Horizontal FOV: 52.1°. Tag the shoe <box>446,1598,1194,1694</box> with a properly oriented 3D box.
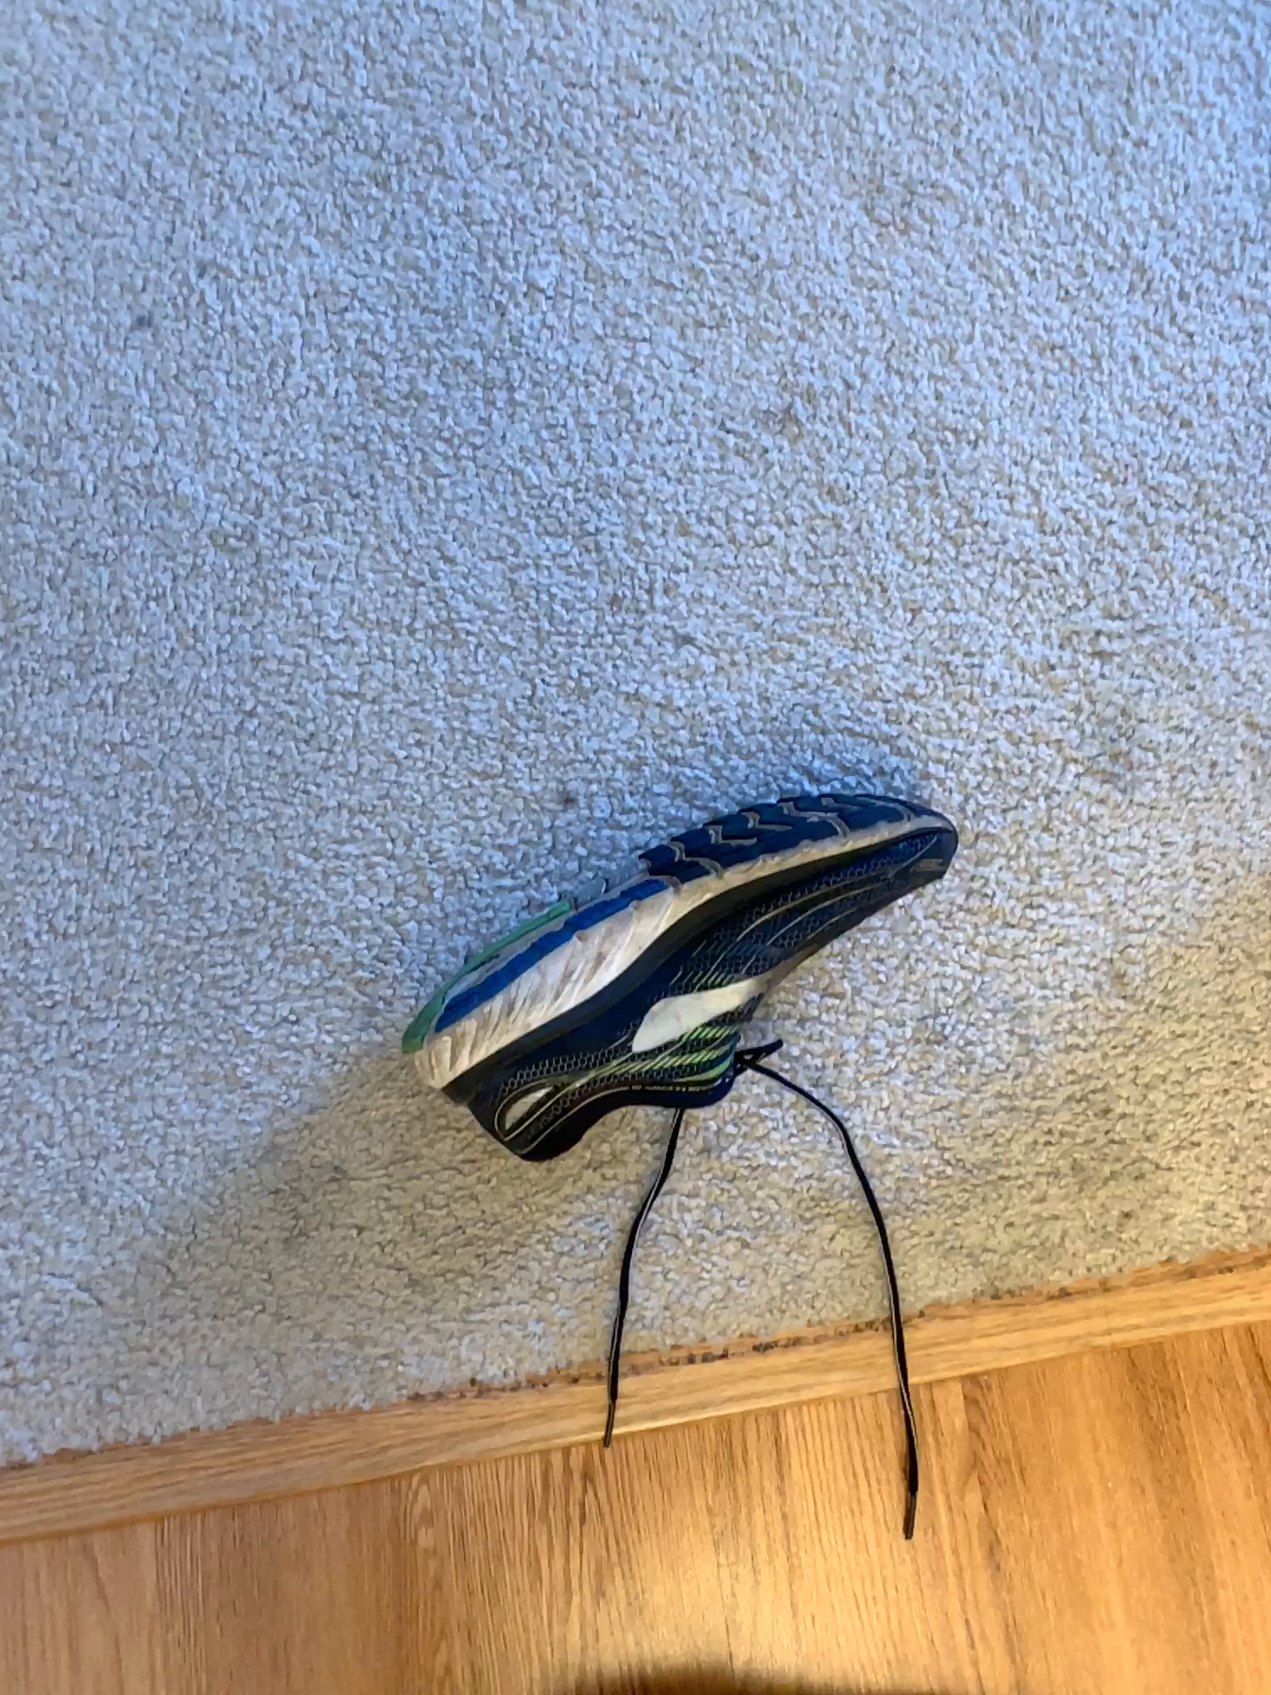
[{"bbox_3d":[0.081,0.460,0.614,0.310,0.123,0.120,6,79,0],"label":"shoe"}]

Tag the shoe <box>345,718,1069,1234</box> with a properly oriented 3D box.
[{"bbox_3d":[0.031,0.053,0.642,0.310,0.110,0.120,-23,96,-5],"label":"shoe"}]
